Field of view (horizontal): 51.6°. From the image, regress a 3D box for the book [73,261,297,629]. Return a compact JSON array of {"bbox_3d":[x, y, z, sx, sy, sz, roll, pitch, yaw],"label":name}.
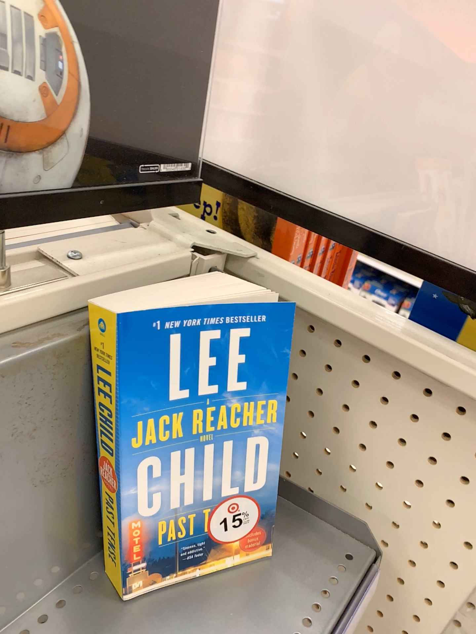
[{"bbox_3d":[-0.034,0.071,0.327,0.110,0.197,0.080,-12,20,-40],"label":"book"}]
